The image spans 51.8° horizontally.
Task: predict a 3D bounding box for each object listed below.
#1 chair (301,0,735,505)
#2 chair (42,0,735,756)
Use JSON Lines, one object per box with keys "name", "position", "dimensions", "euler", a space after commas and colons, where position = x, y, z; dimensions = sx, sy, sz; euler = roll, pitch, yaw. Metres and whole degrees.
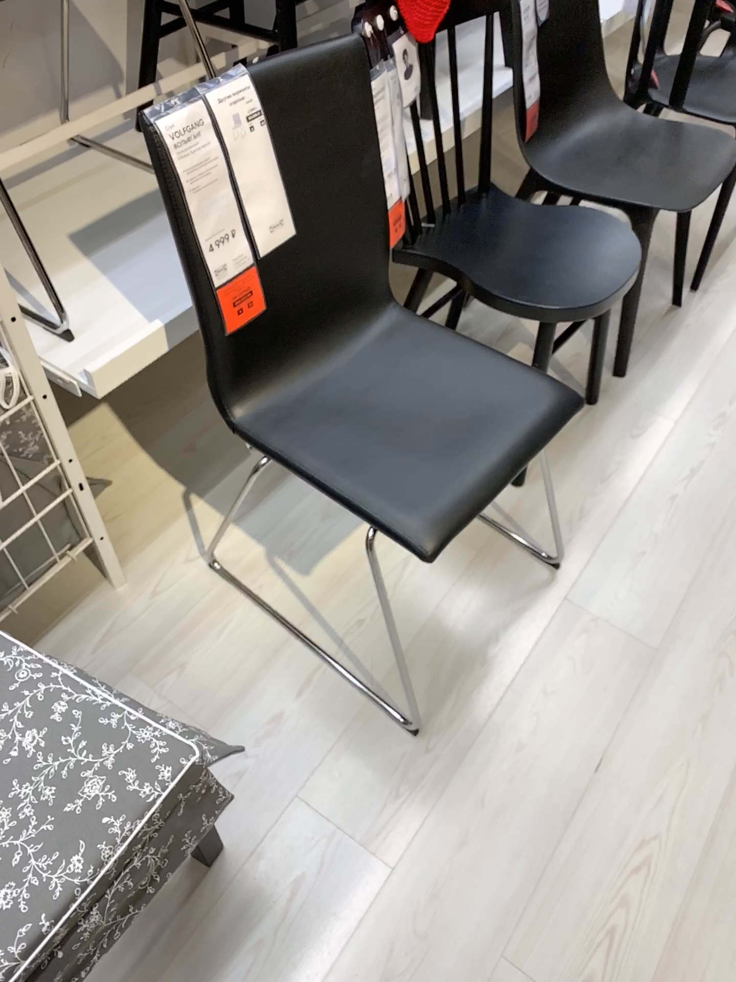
{"name": "chair", "position": [0.264, -0.510, 1.554], "dimensions": [0.599, 0.799, 0.472], "euler": [29, 54, 22]}
{"name": "chair", "position": [0.034, -0.150, 1.183], "dimensions": [0.609, 0.869, 0.533], "euler": [32, 56, 24]}
